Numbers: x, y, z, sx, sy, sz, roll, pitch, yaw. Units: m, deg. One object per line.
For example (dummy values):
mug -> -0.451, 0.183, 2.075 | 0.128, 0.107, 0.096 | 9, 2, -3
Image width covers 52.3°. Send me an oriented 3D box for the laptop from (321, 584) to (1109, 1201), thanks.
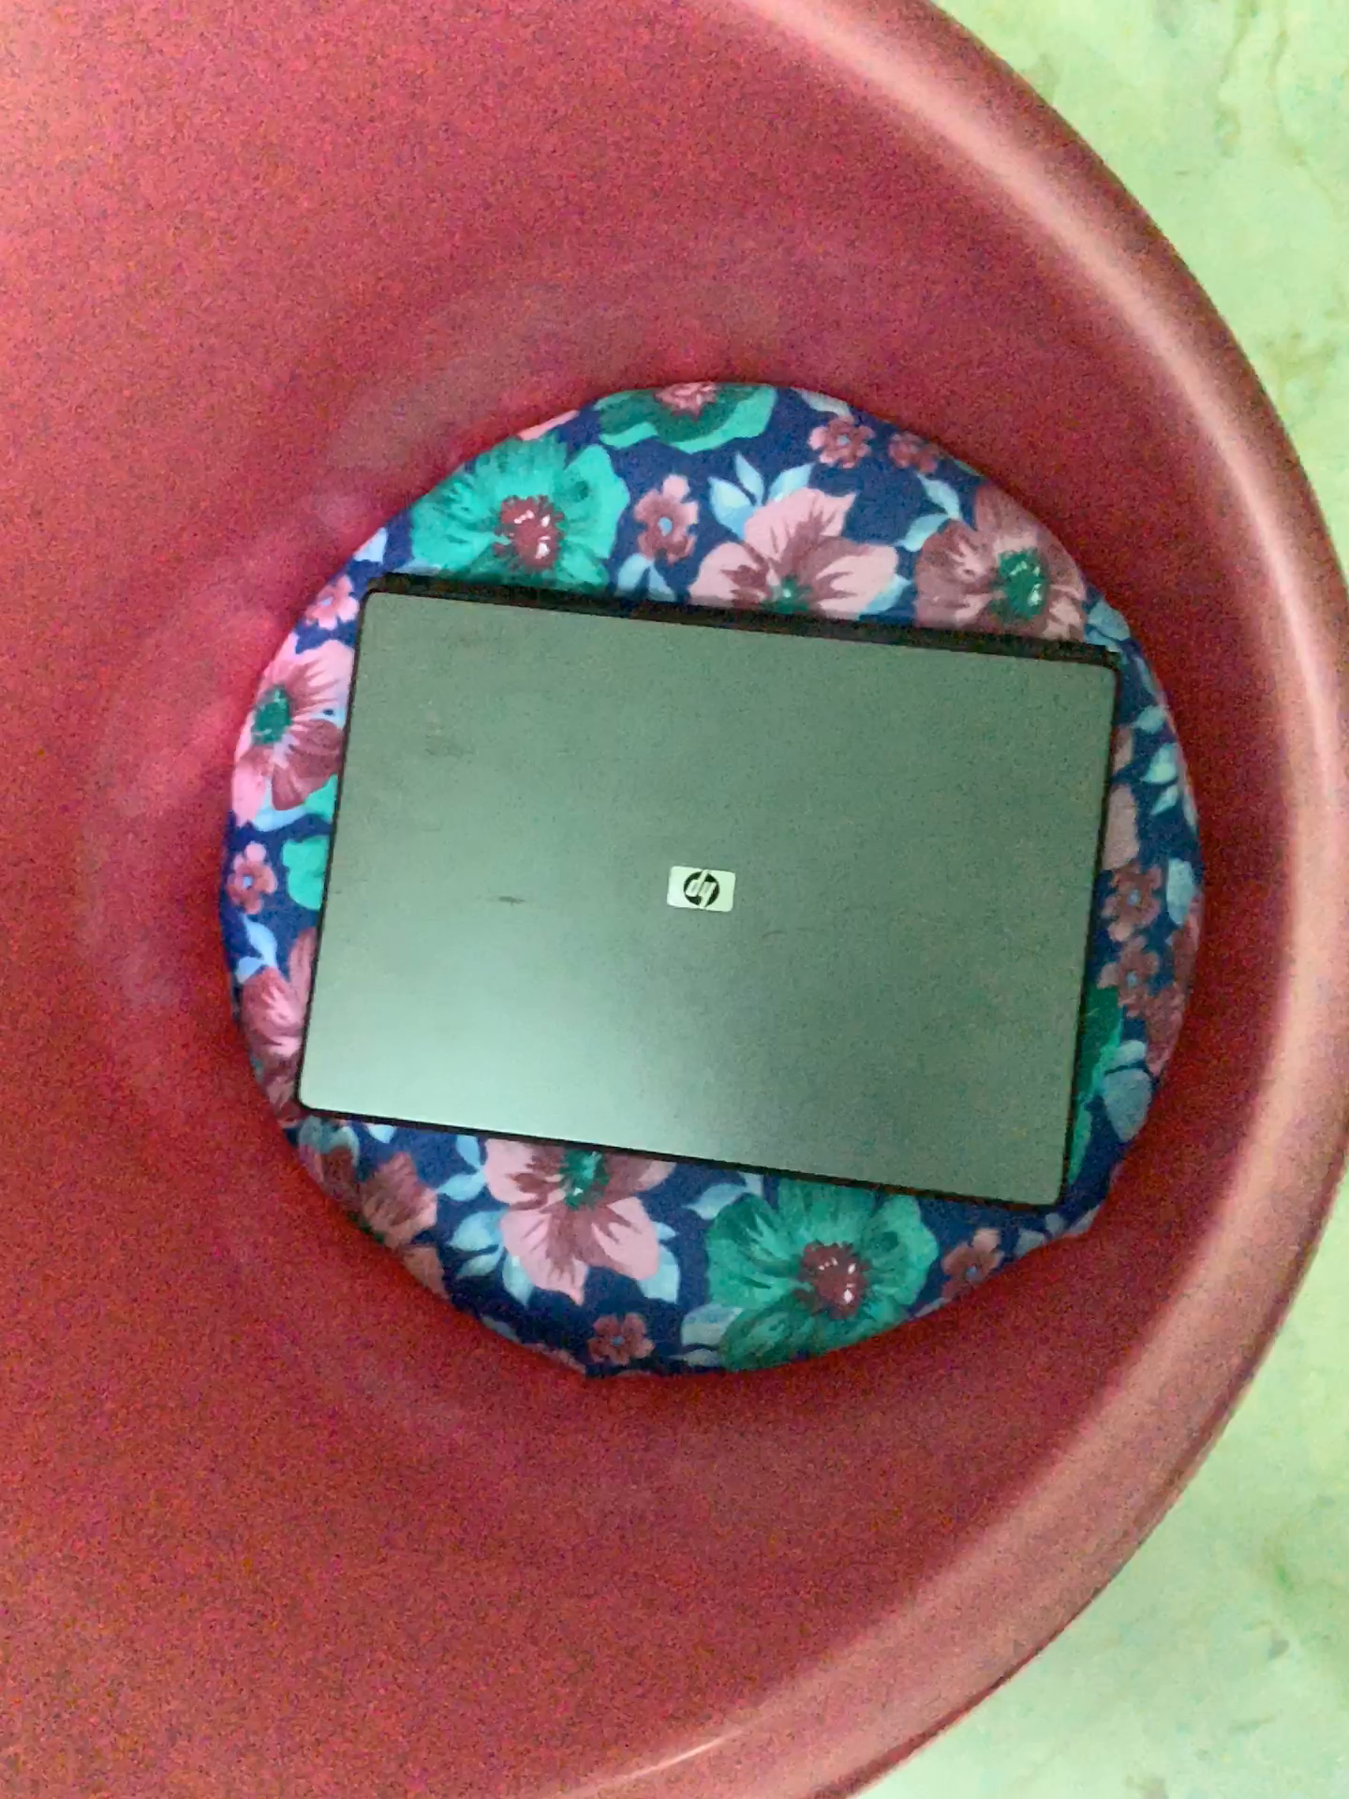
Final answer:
laptop -> 0.017, -0.004, 0.570 | 0.303, 0.003, 0.222 | 7, 88, 1
